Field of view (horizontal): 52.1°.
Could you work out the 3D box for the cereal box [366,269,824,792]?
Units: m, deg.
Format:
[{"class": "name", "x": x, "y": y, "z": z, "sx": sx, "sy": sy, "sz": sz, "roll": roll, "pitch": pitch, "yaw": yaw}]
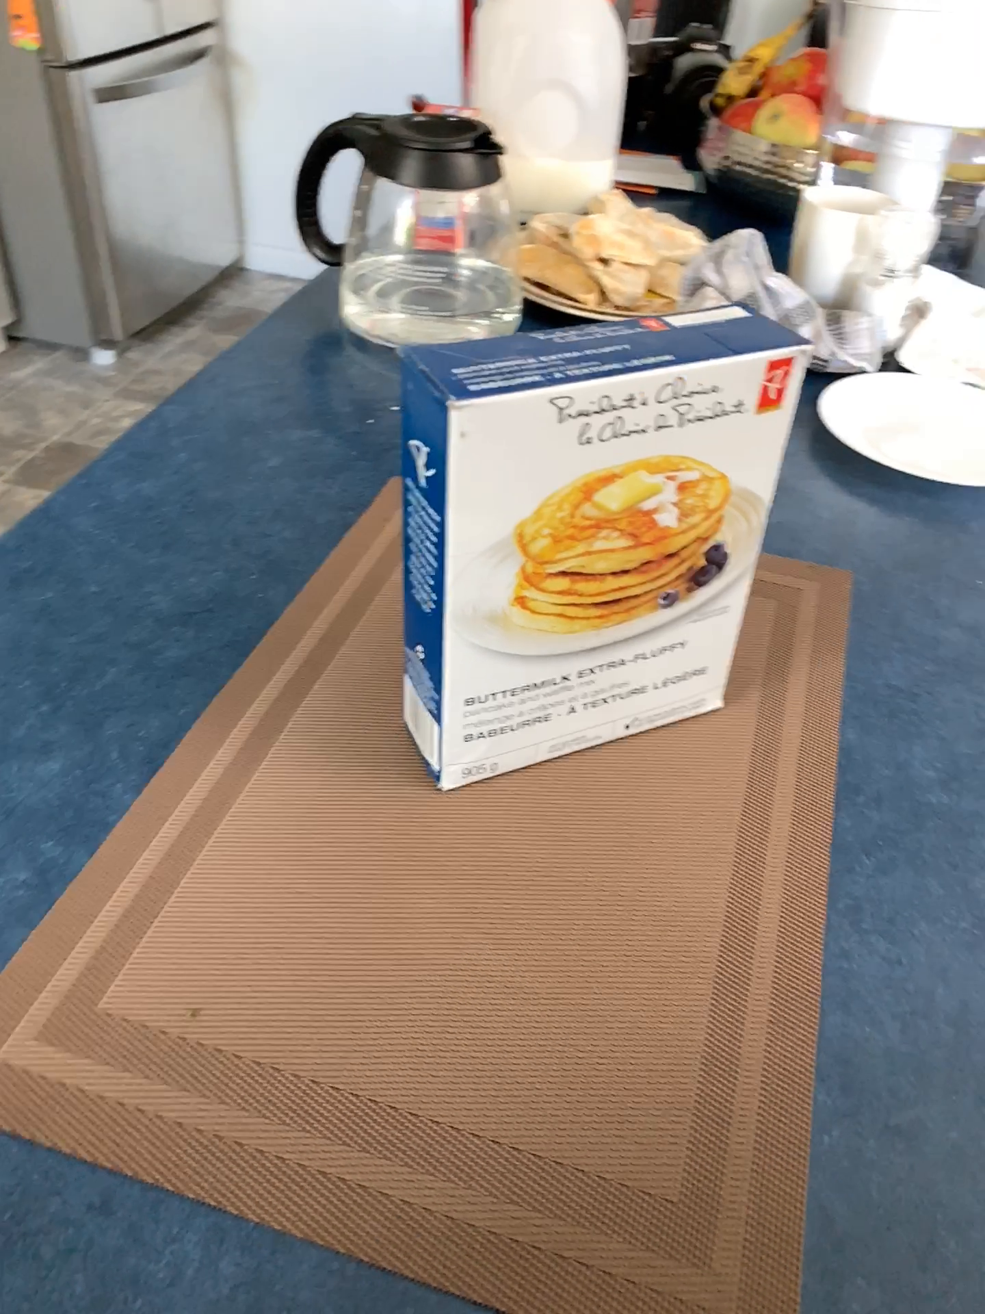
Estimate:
[{"class": "cereal box", "x": 0.035, "y": -0.051, "z": 0.447, "sx": 0.170, "sy": 0.208, "sz": 0.050, "roll": -13, "pitch": 43, "yaw": -20}]
